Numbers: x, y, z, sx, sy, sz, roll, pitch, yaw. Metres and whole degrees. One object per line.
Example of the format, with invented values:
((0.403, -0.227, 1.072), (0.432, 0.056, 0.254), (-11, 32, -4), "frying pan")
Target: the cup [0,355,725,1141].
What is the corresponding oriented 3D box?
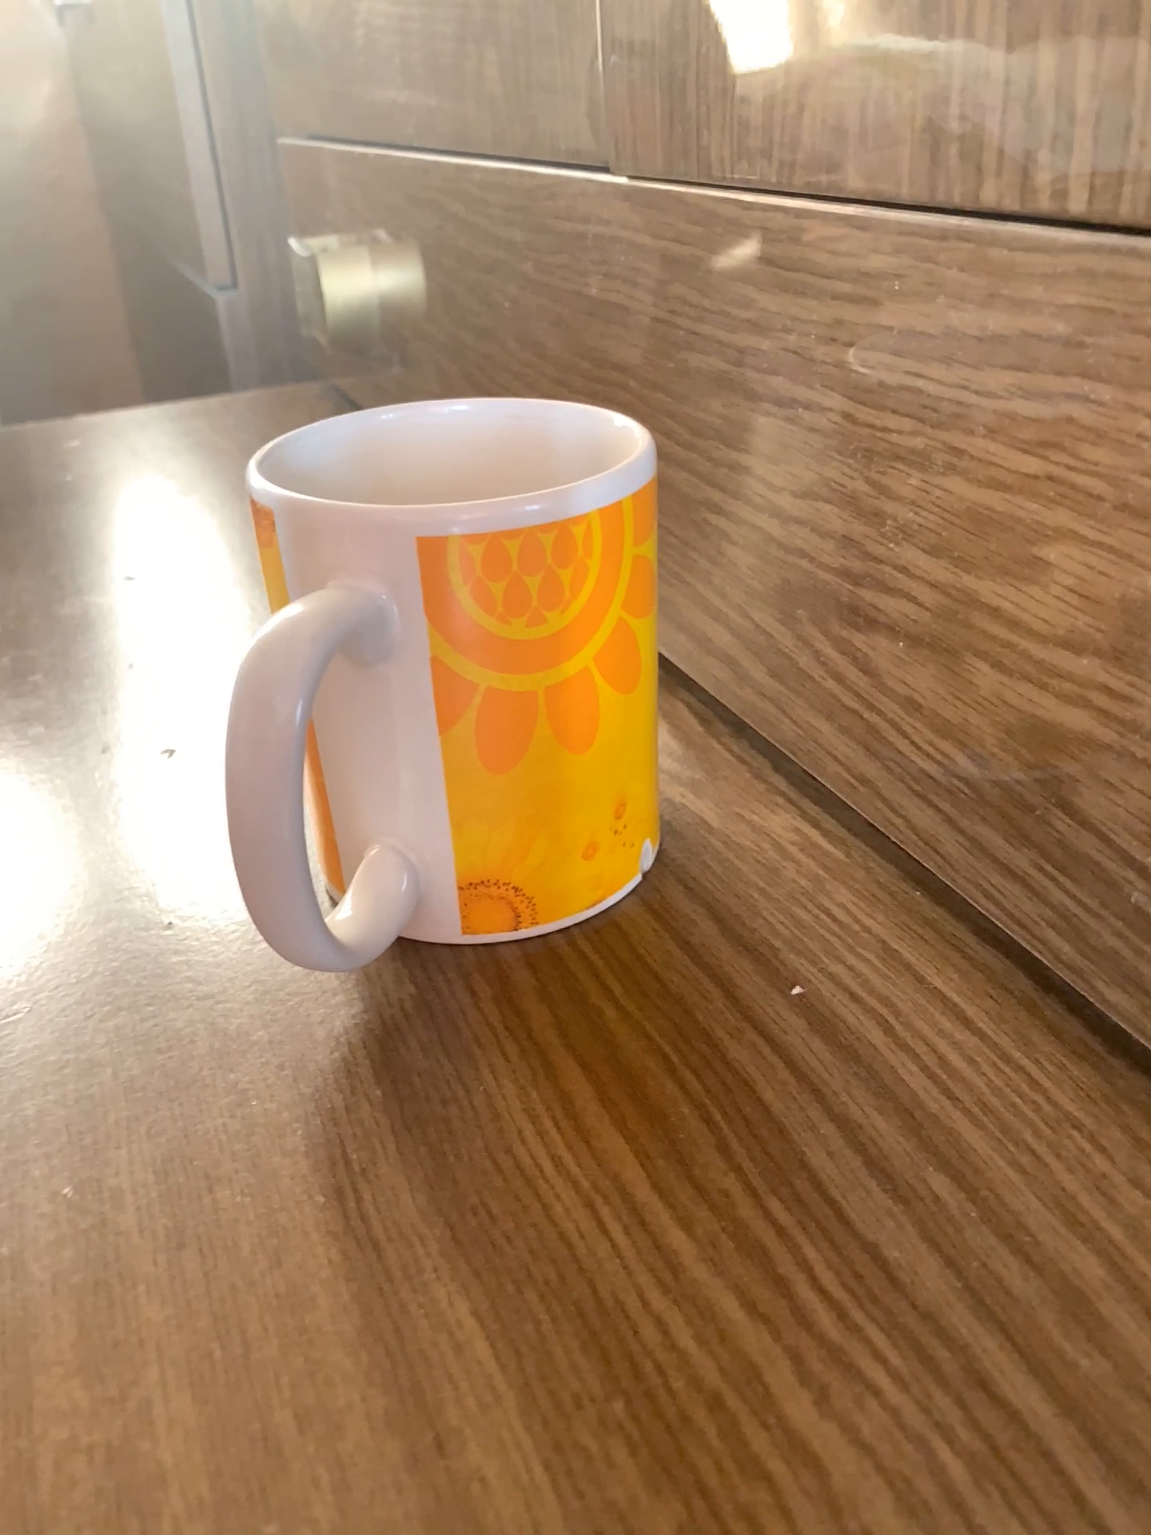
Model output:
((-0.035, -0.018, 0.240), (0.090, 0.097, 0.124), (11, 33, 24), "cup")
